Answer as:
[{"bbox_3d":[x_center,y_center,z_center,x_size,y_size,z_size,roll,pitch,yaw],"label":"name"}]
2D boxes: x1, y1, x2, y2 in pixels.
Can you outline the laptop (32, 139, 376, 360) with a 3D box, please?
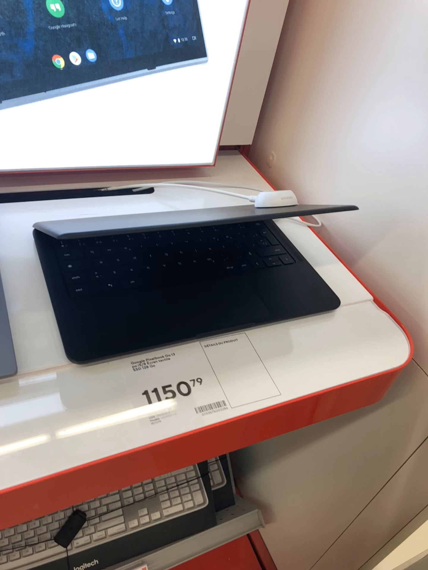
[{"bbox_3d":[-0.020,-0.061,0.509,0.298,0.106,0.199,-9,45,-26],"label":"laptop"}]
